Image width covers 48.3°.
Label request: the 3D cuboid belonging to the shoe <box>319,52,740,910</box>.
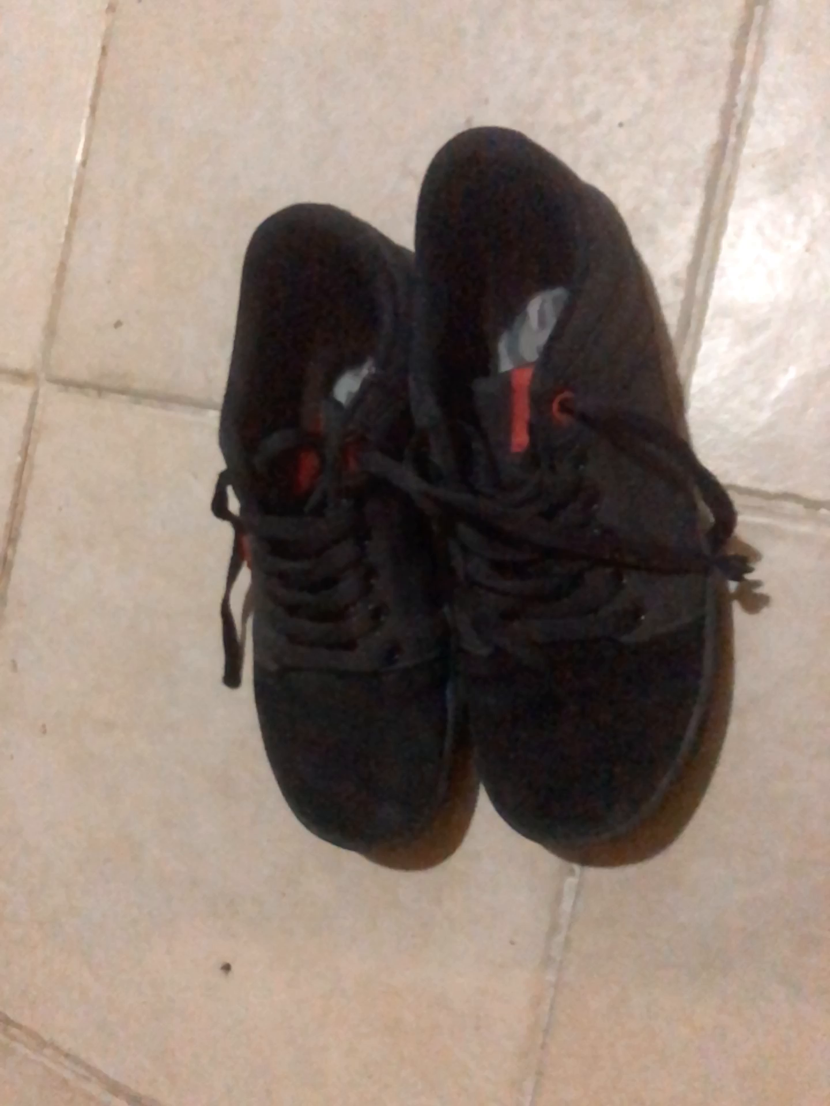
[{"bbox_3d":[0.043,-0.017,0.320,0.100,0.100,0.240,-7,84,23],"label":"shoe"}]

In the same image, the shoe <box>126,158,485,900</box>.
[{"bbox_3d":[-0.039,-0.006,0.363,0.100,0.100,0.240,-3,85,23],"label":"shoe"}]
